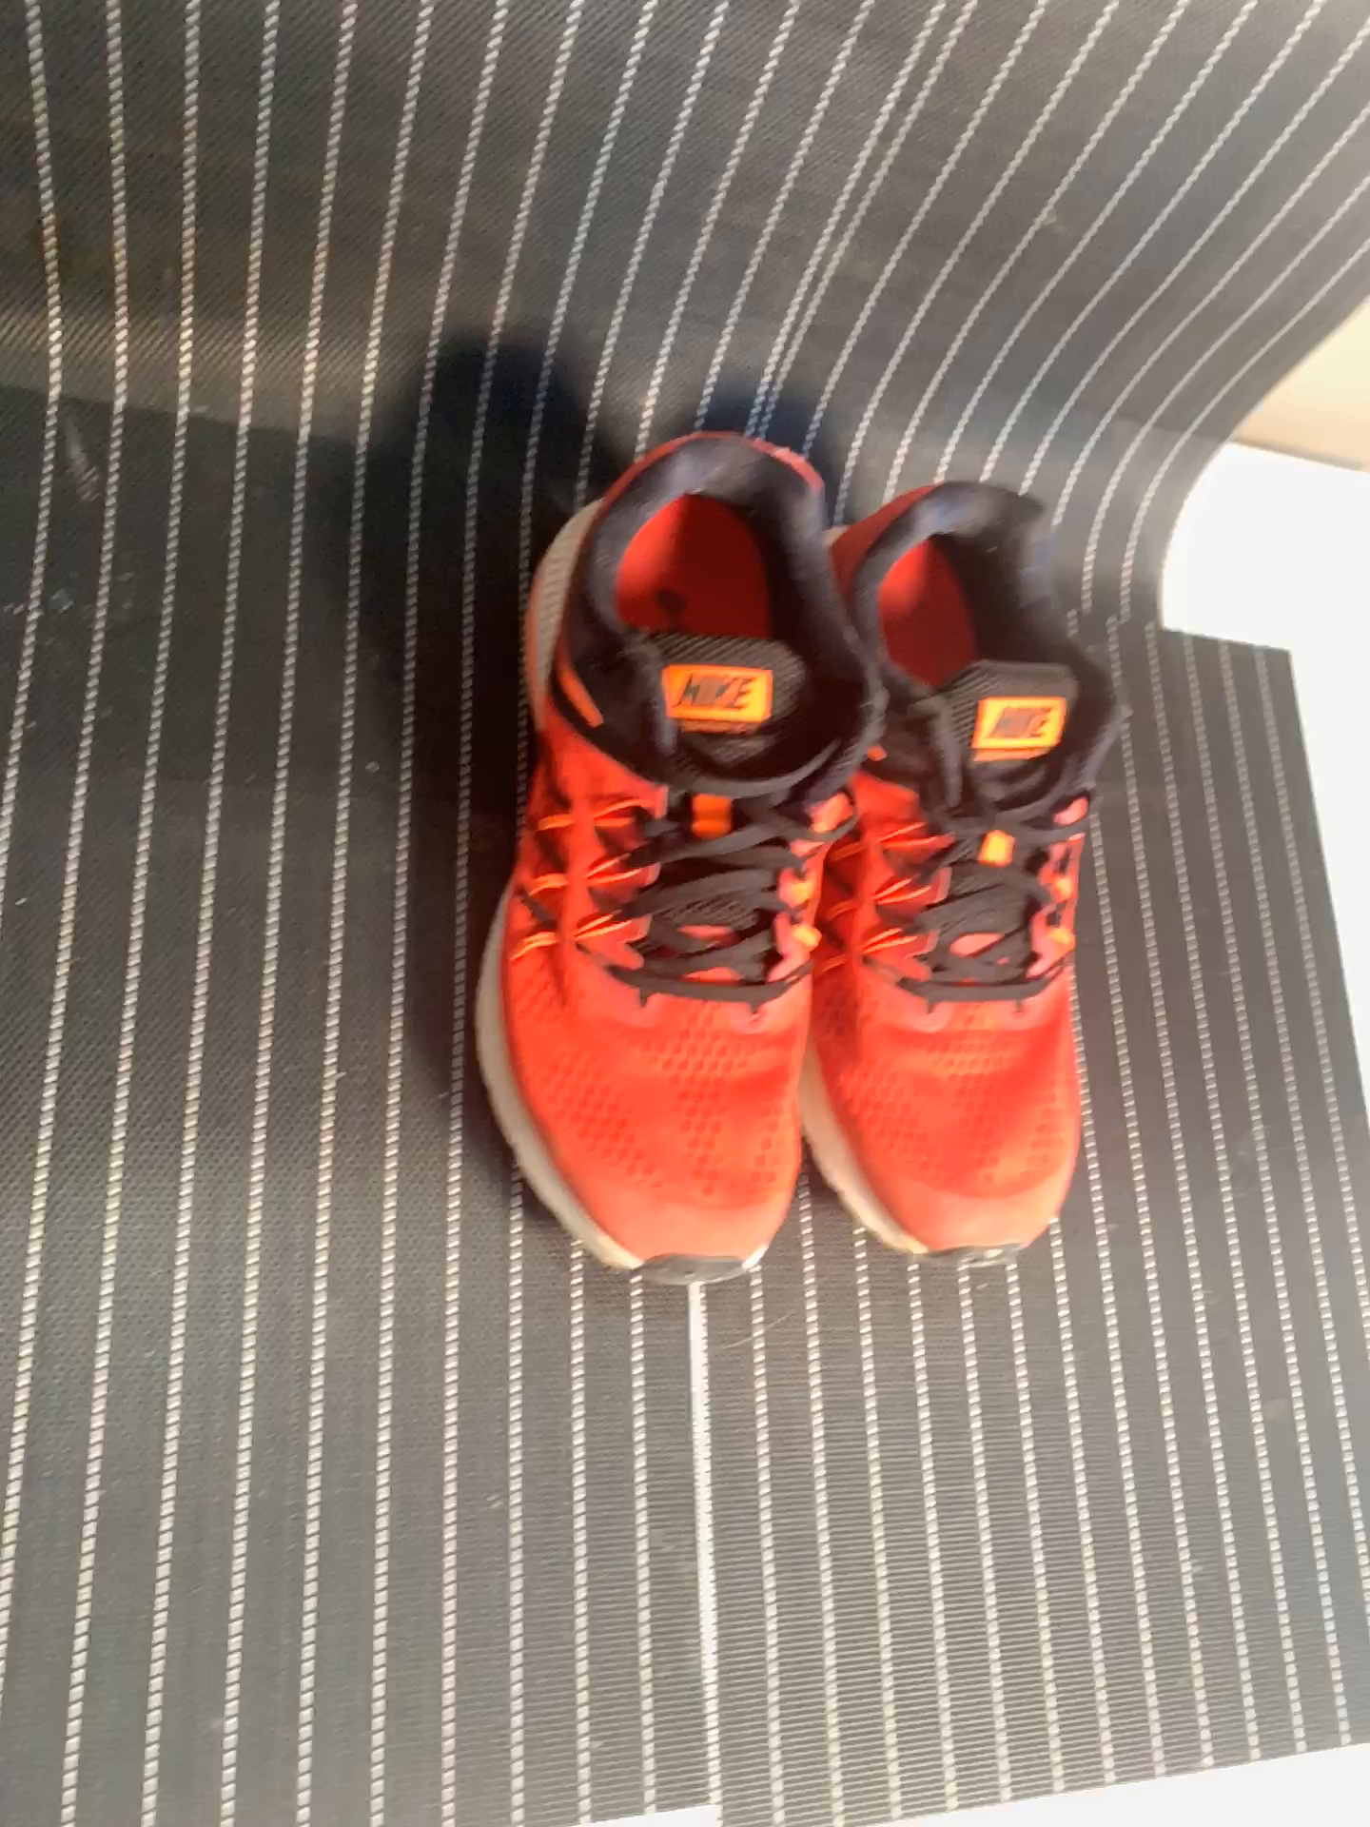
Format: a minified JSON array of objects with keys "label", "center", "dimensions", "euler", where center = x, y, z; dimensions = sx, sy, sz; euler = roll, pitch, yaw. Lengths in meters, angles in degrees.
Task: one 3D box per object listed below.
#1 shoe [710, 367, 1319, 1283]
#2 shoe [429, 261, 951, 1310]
[{"label":"shoe","center":[0.096,-0.023,0.471],"dimensions":[0.120,0.110,0.270],"euler":[1,74,-21]},{"label":"shoe","center":[-0.008,-0.032,0.451],"dimensions":[0.120,0.110,0.300],"euler":[4,72,-20]}]
